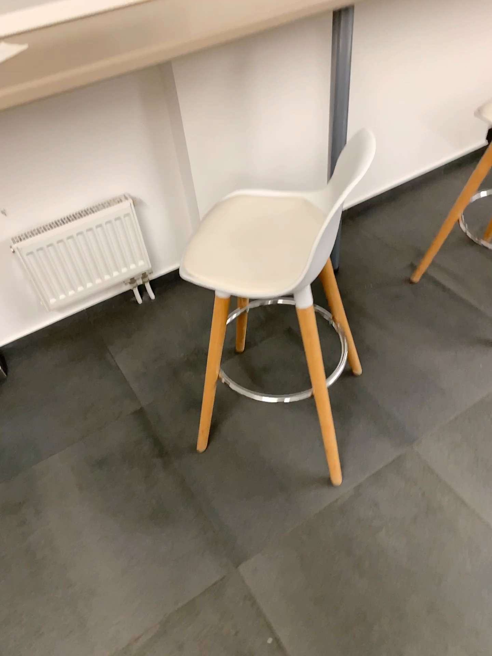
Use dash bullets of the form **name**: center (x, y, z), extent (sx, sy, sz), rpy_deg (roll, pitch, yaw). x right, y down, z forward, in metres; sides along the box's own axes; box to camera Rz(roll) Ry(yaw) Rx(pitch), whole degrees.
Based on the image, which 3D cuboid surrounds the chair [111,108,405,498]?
- **chair**: center (0.090, -0.025, 1.326), extent (0.480, 0.886, 0.482), rpy_deg (9, 49, 15)
